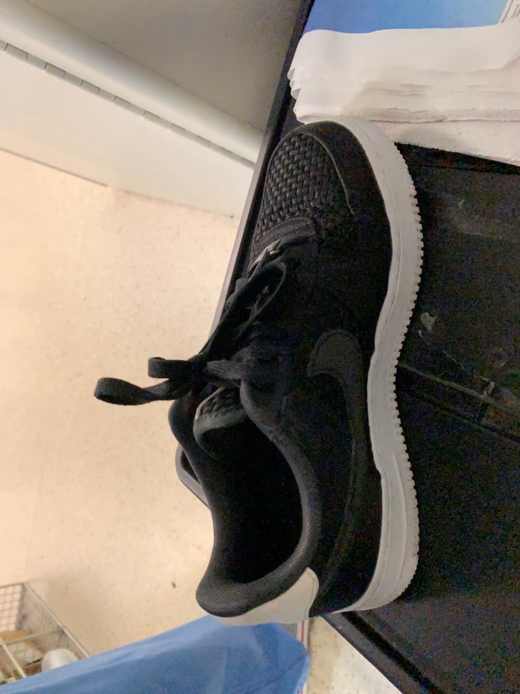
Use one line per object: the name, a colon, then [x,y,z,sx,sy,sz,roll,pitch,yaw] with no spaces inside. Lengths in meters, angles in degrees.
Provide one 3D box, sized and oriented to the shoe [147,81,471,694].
shoe: [0.021,0.028,0.234,0.090,0.094,0.225,-9,76,45]
